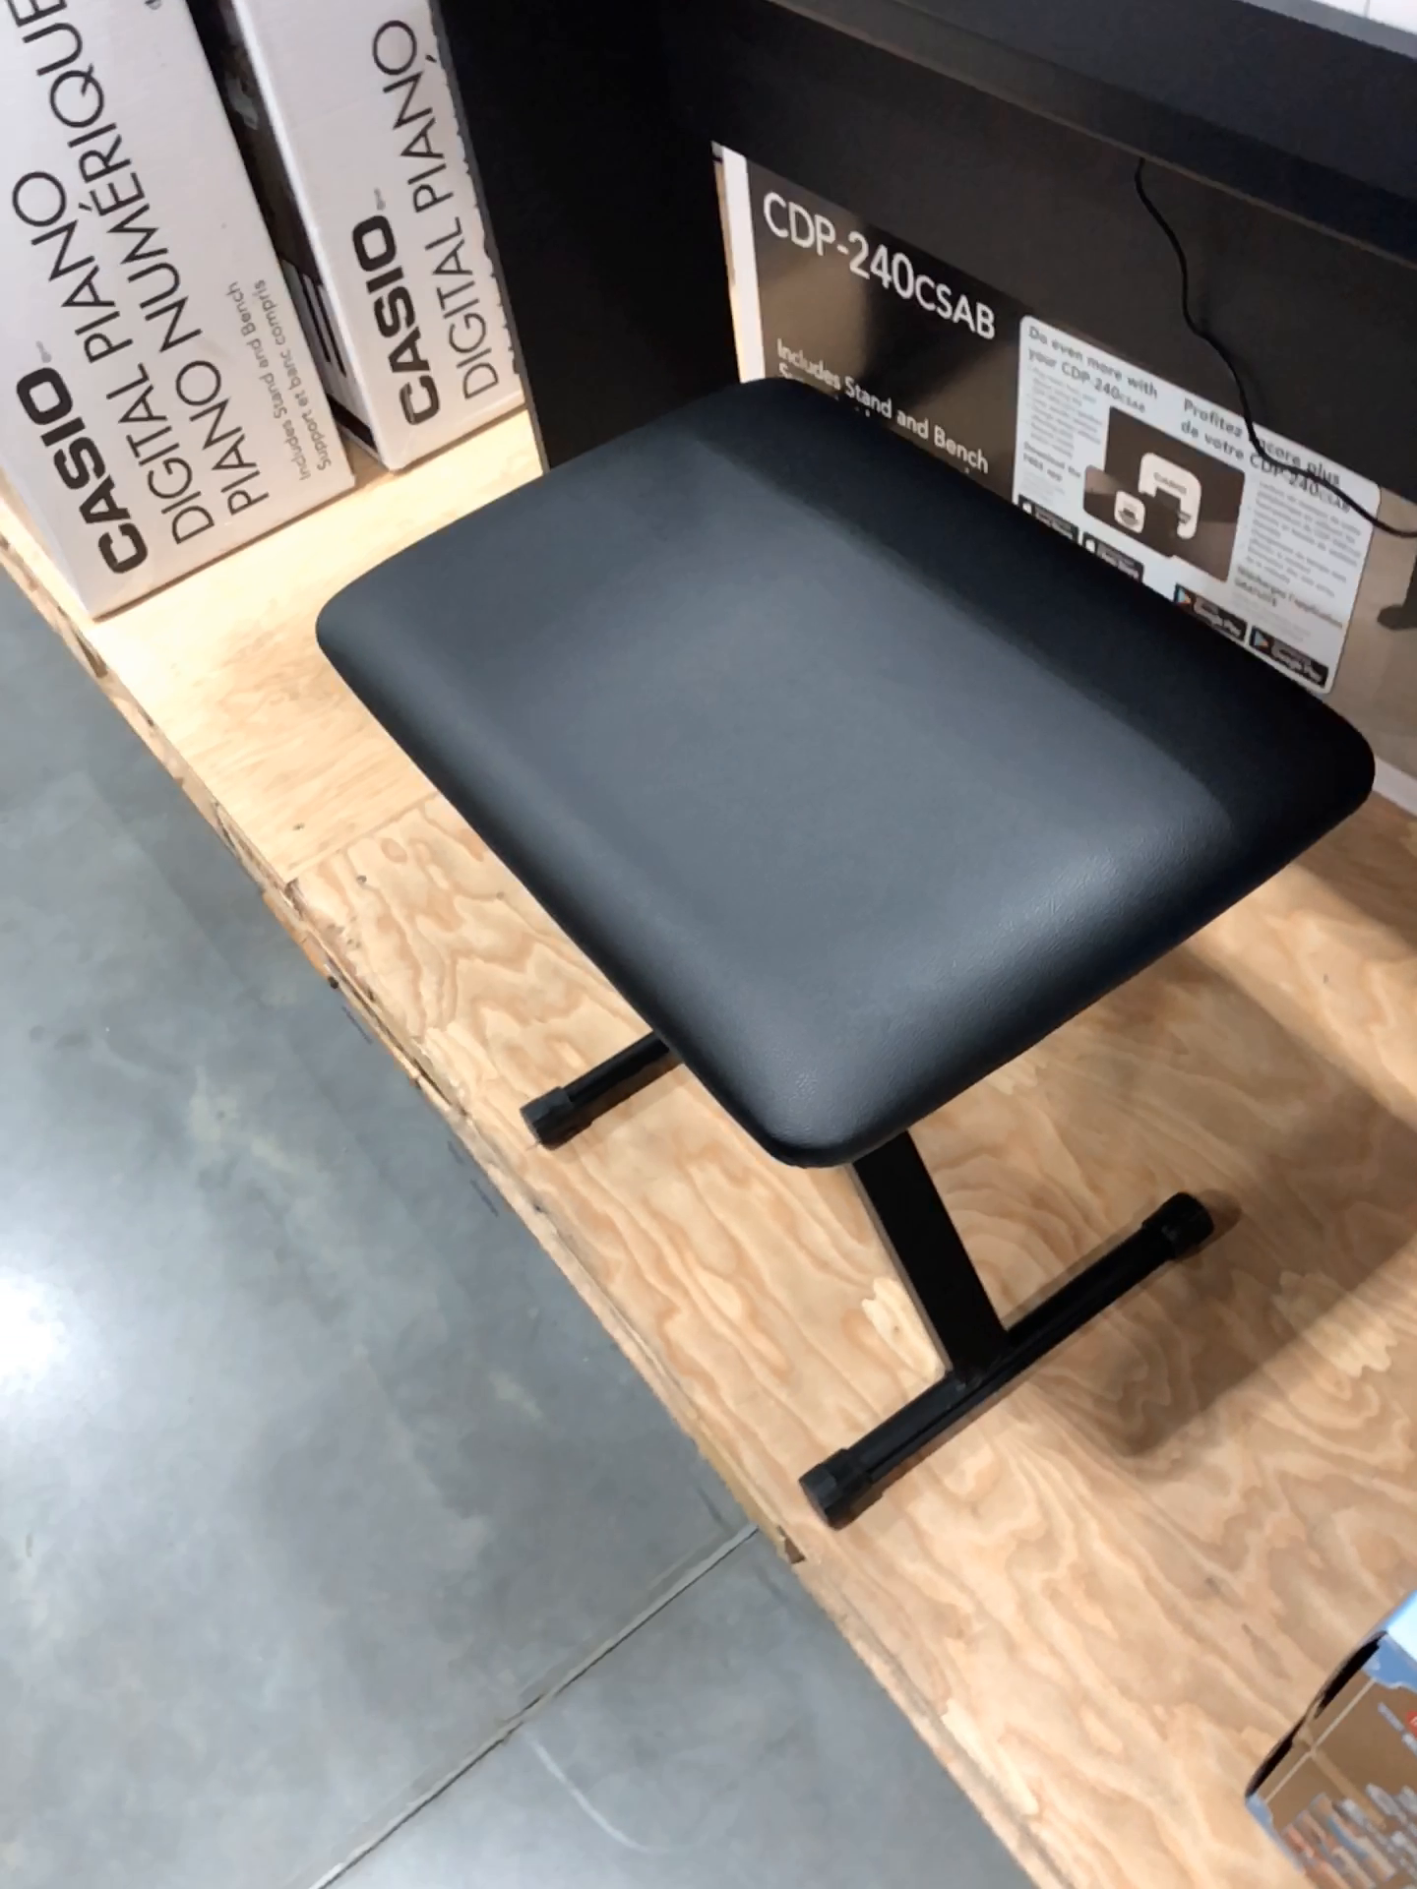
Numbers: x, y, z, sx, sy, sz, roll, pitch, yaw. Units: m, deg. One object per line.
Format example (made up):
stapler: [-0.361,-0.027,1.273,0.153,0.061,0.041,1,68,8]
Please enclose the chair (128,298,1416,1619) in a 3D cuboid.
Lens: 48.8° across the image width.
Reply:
chair: [0.024,-0.032,0.789,0.370,0.279,0.512,-32,53,-16]
